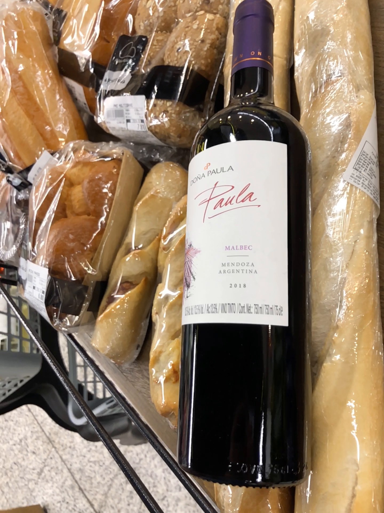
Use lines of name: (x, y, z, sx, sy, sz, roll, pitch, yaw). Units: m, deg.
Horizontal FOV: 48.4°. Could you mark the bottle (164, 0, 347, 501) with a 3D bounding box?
bottle: (0.040, -0.035, 0.255, 0.070, 0.060, 0.300, -10, 70, 40)
